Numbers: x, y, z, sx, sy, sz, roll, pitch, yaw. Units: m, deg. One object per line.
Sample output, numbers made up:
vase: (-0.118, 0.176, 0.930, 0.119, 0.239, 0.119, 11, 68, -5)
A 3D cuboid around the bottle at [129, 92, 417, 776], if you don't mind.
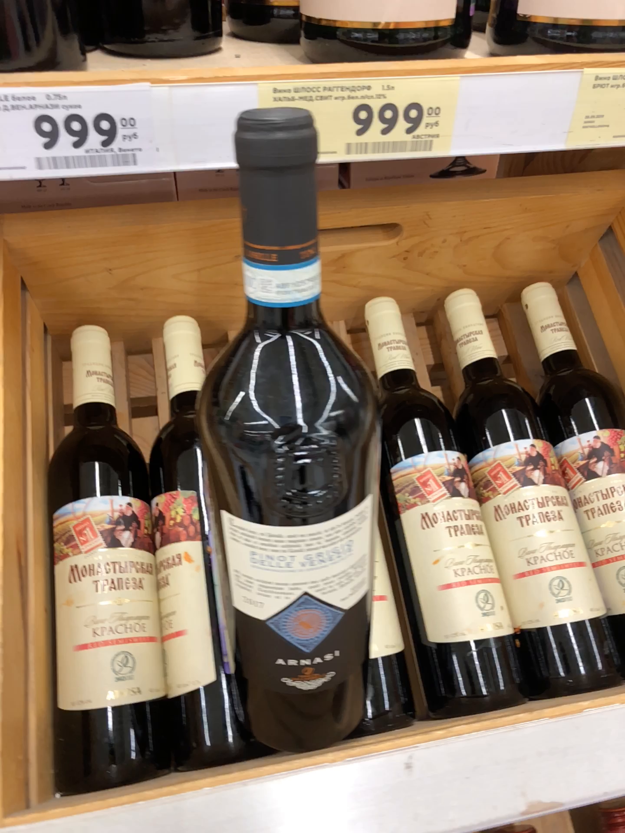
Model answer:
bottle: (-0.014, 0.027, 0.327, 0.090, 0.318, 0.080, -6, 30, -8)
